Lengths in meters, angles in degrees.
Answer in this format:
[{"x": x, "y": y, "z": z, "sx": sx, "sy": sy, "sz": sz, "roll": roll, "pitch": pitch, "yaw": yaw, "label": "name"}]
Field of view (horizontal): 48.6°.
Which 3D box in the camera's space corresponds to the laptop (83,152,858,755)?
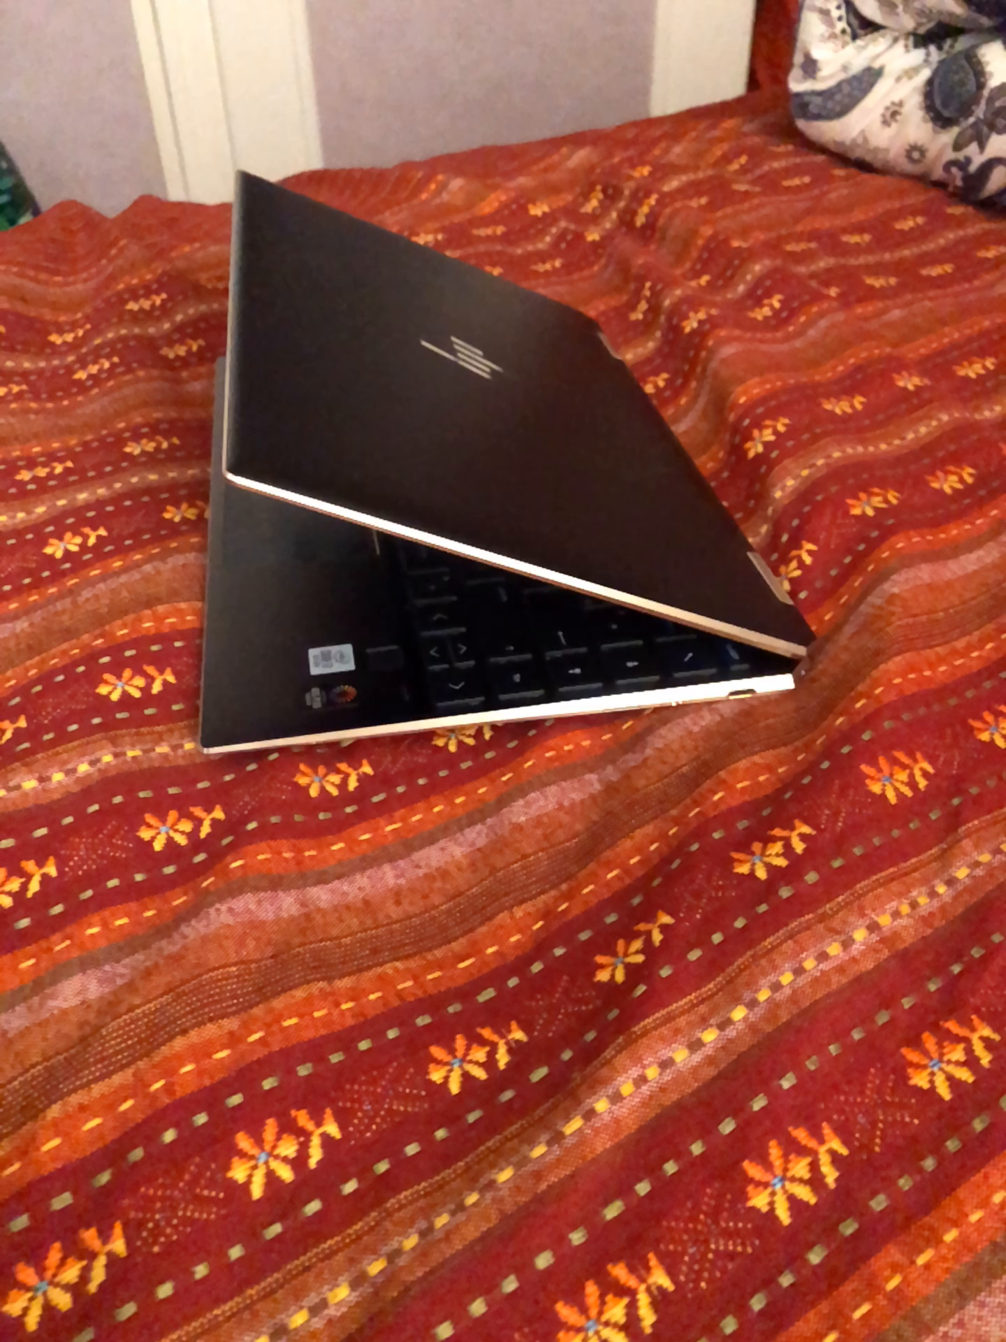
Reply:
[{"x": -0.021, "y": -0.122, "z": 0.445, "sx": 0.202, "sy": 0.101, "sz": 0.327, "roll": -4, "pitch": 35, "yaw": -10, "label": "laptop"}]
